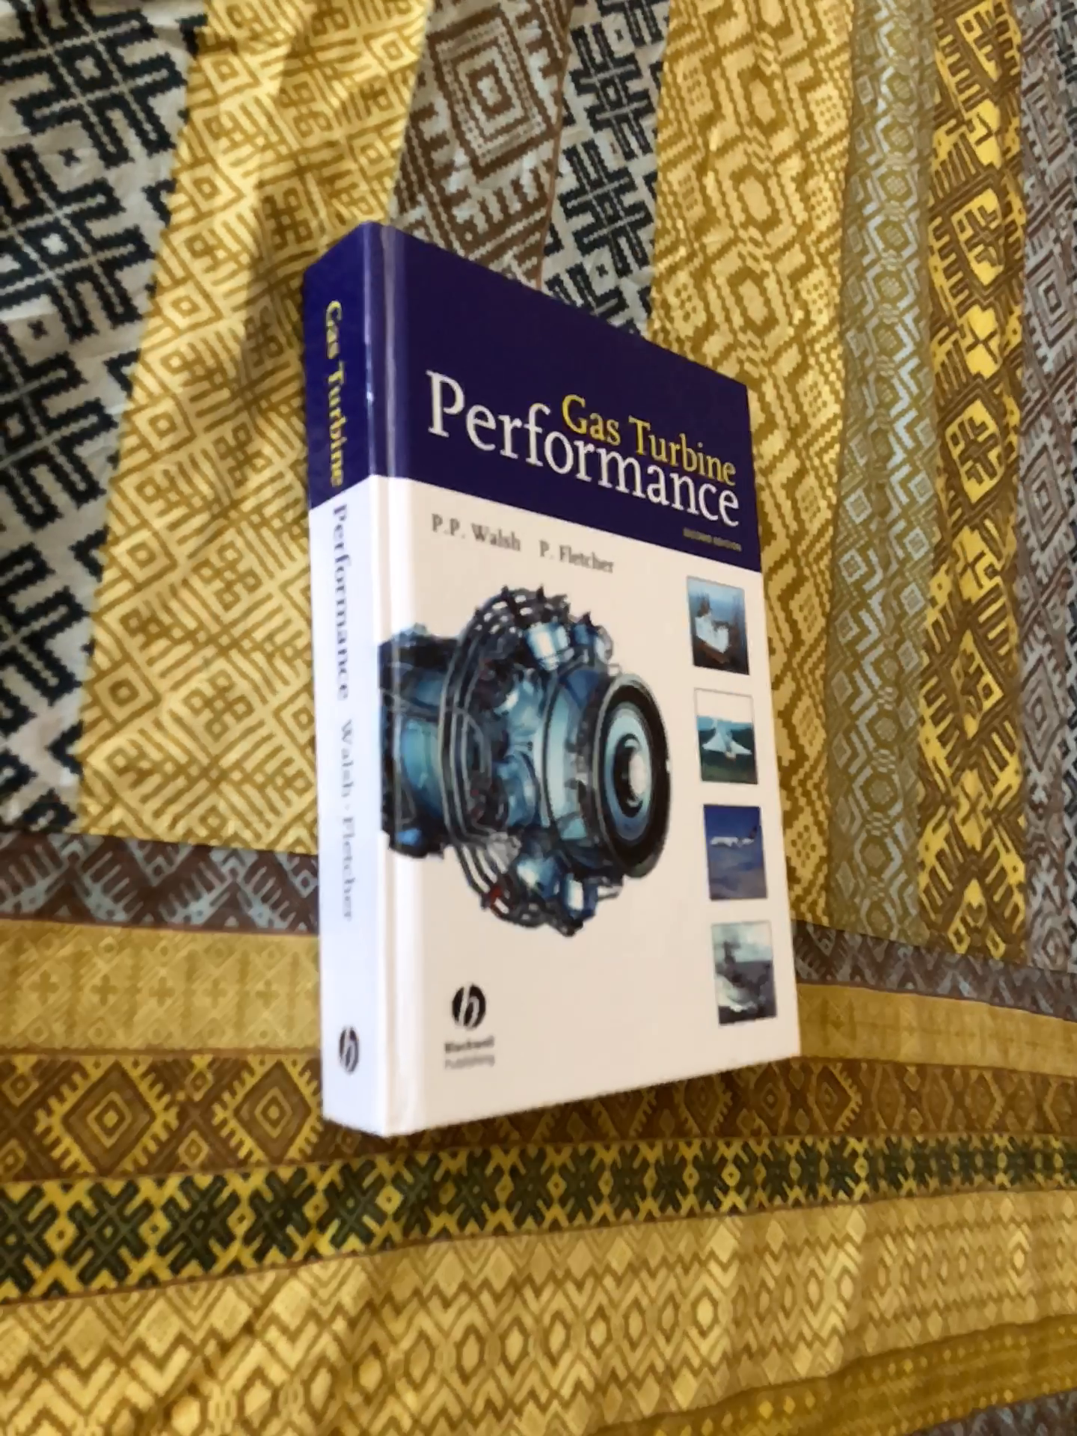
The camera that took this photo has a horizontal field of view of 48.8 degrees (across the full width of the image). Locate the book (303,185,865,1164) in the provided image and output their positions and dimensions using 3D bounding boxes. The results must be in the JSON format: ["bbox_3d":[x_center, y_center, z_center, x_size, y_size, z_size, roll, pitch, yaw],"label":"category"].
[{"bbox_3d":[0.021,-0.010,0.411,0.193,0.060,0.272,6,76,-44],"label":"book"}]
